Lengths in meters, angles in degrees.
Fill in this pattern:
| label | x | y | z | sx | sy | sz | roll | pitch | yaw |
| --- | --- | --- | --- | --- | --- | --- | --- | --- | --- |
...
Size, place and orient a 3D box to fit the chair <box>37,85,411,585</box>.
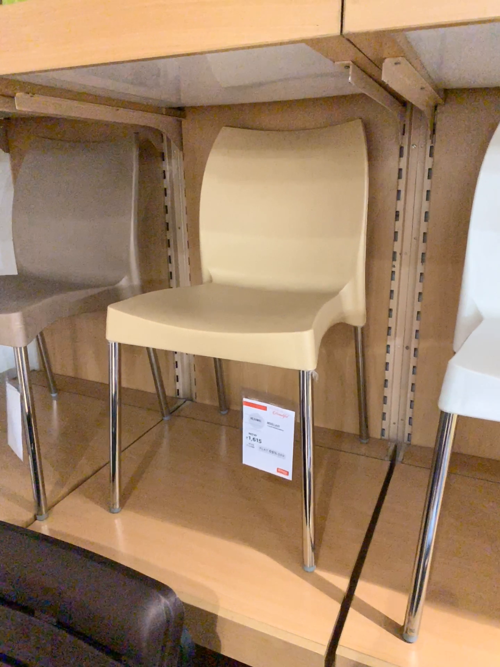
| label | x | y | z | sx | sy | sz | roll | pitch | yaw |
| --- | --- | --- | --- | --- | --- | --- | --- | --- | --- |
| chair | -0.001 | -0.060 | 1.139 | 0.541 | 0.807 | 0.591 | 9 | 20 | 21 |
